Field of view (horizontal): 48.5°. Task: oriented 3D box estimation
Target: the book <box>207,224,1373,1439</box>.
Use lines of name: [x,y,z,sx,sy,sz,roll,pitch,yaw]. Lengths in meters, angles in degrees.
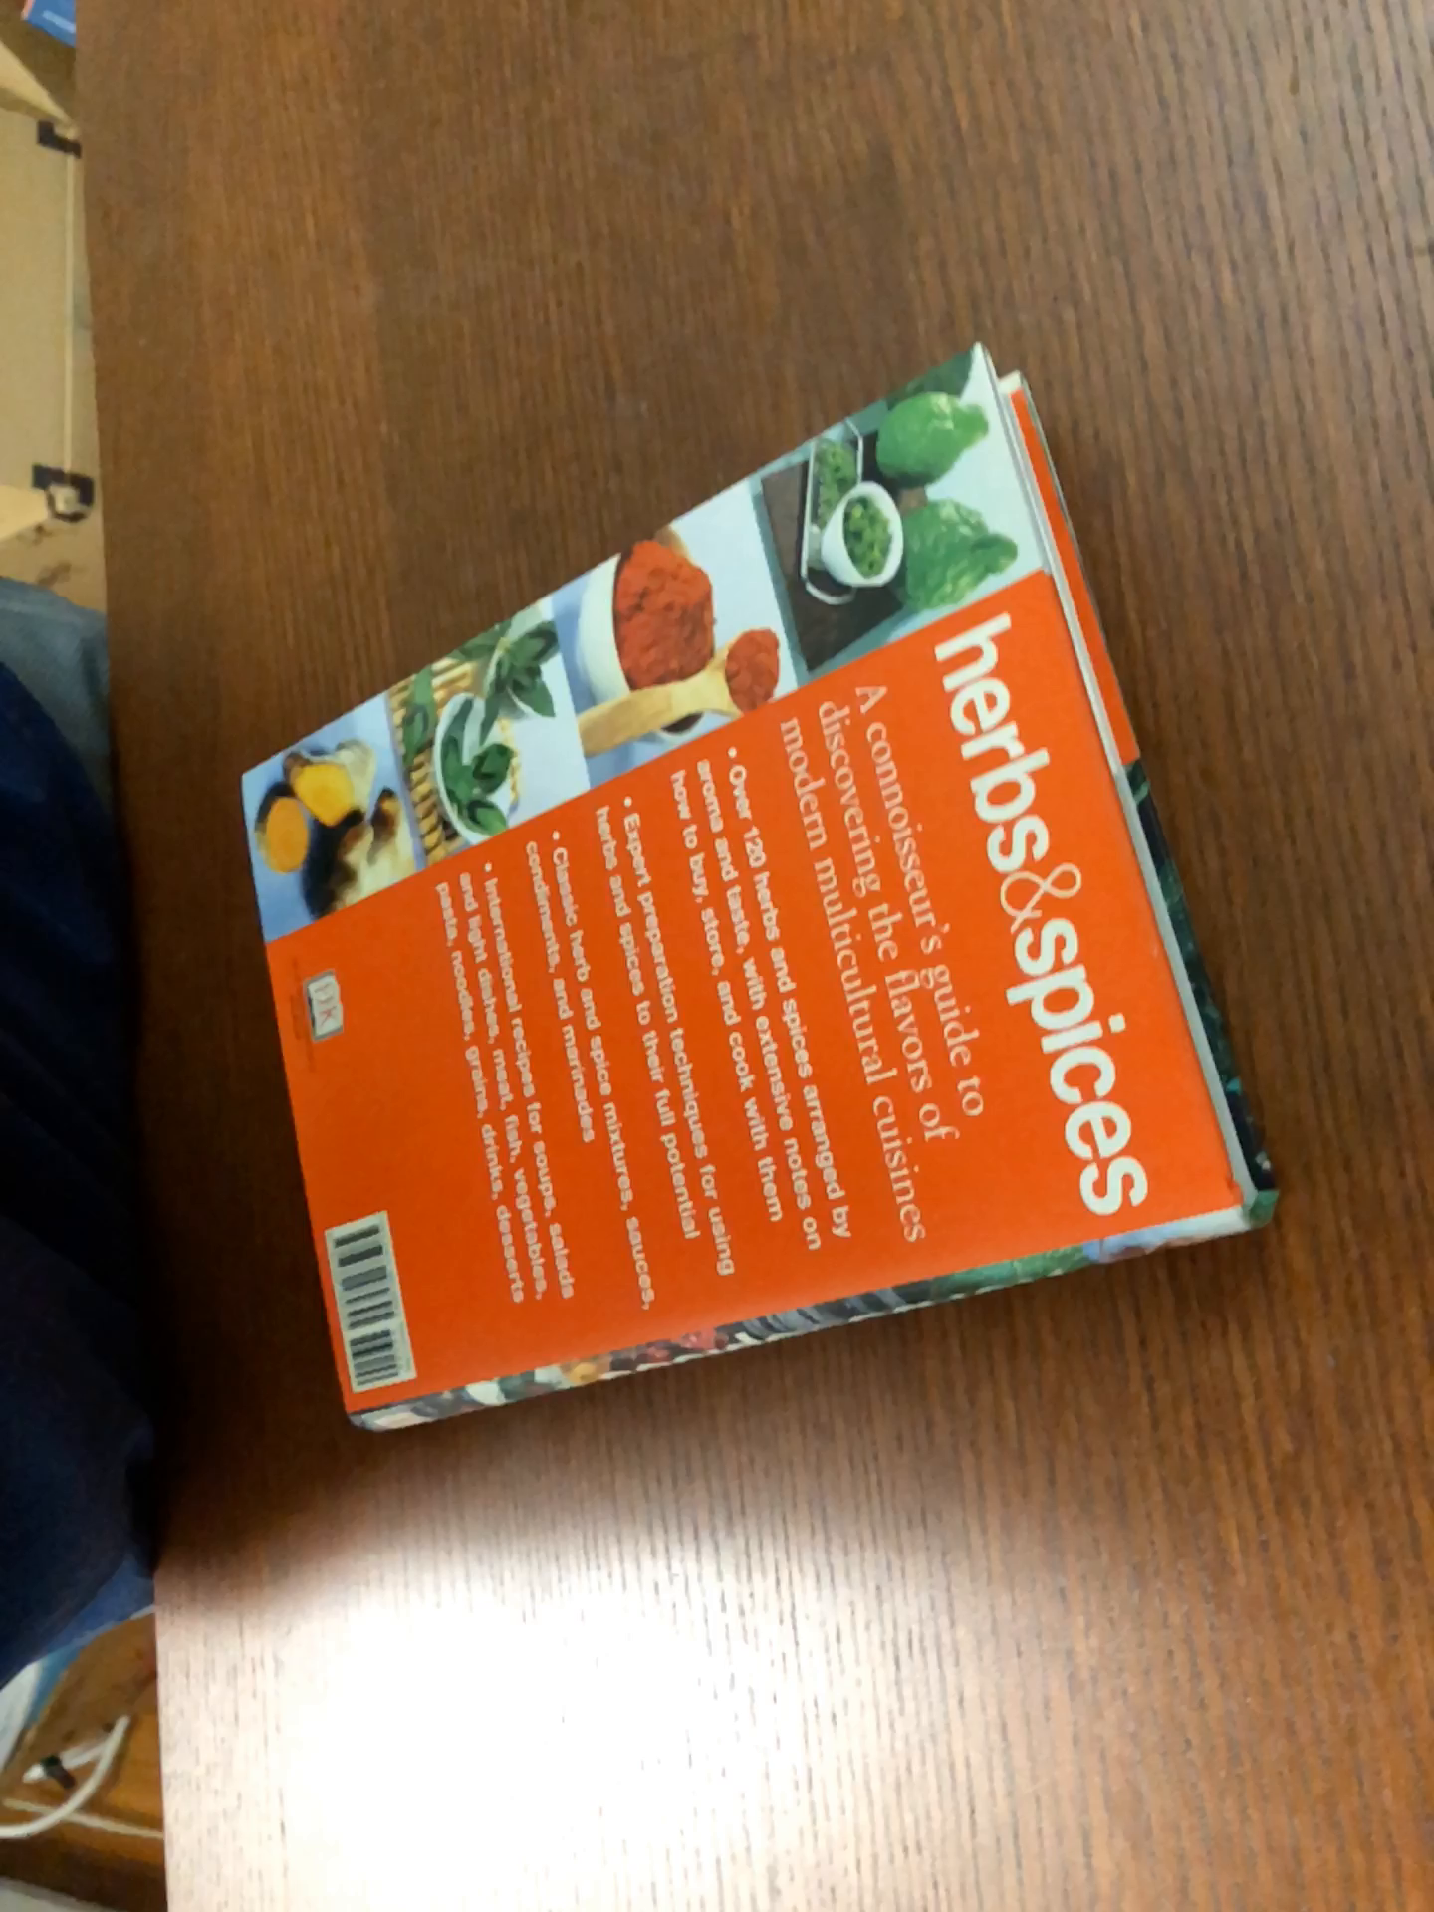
book: [-0.011,-0.009,0.392,0.271,0.040,0.210,-20,75,32]
